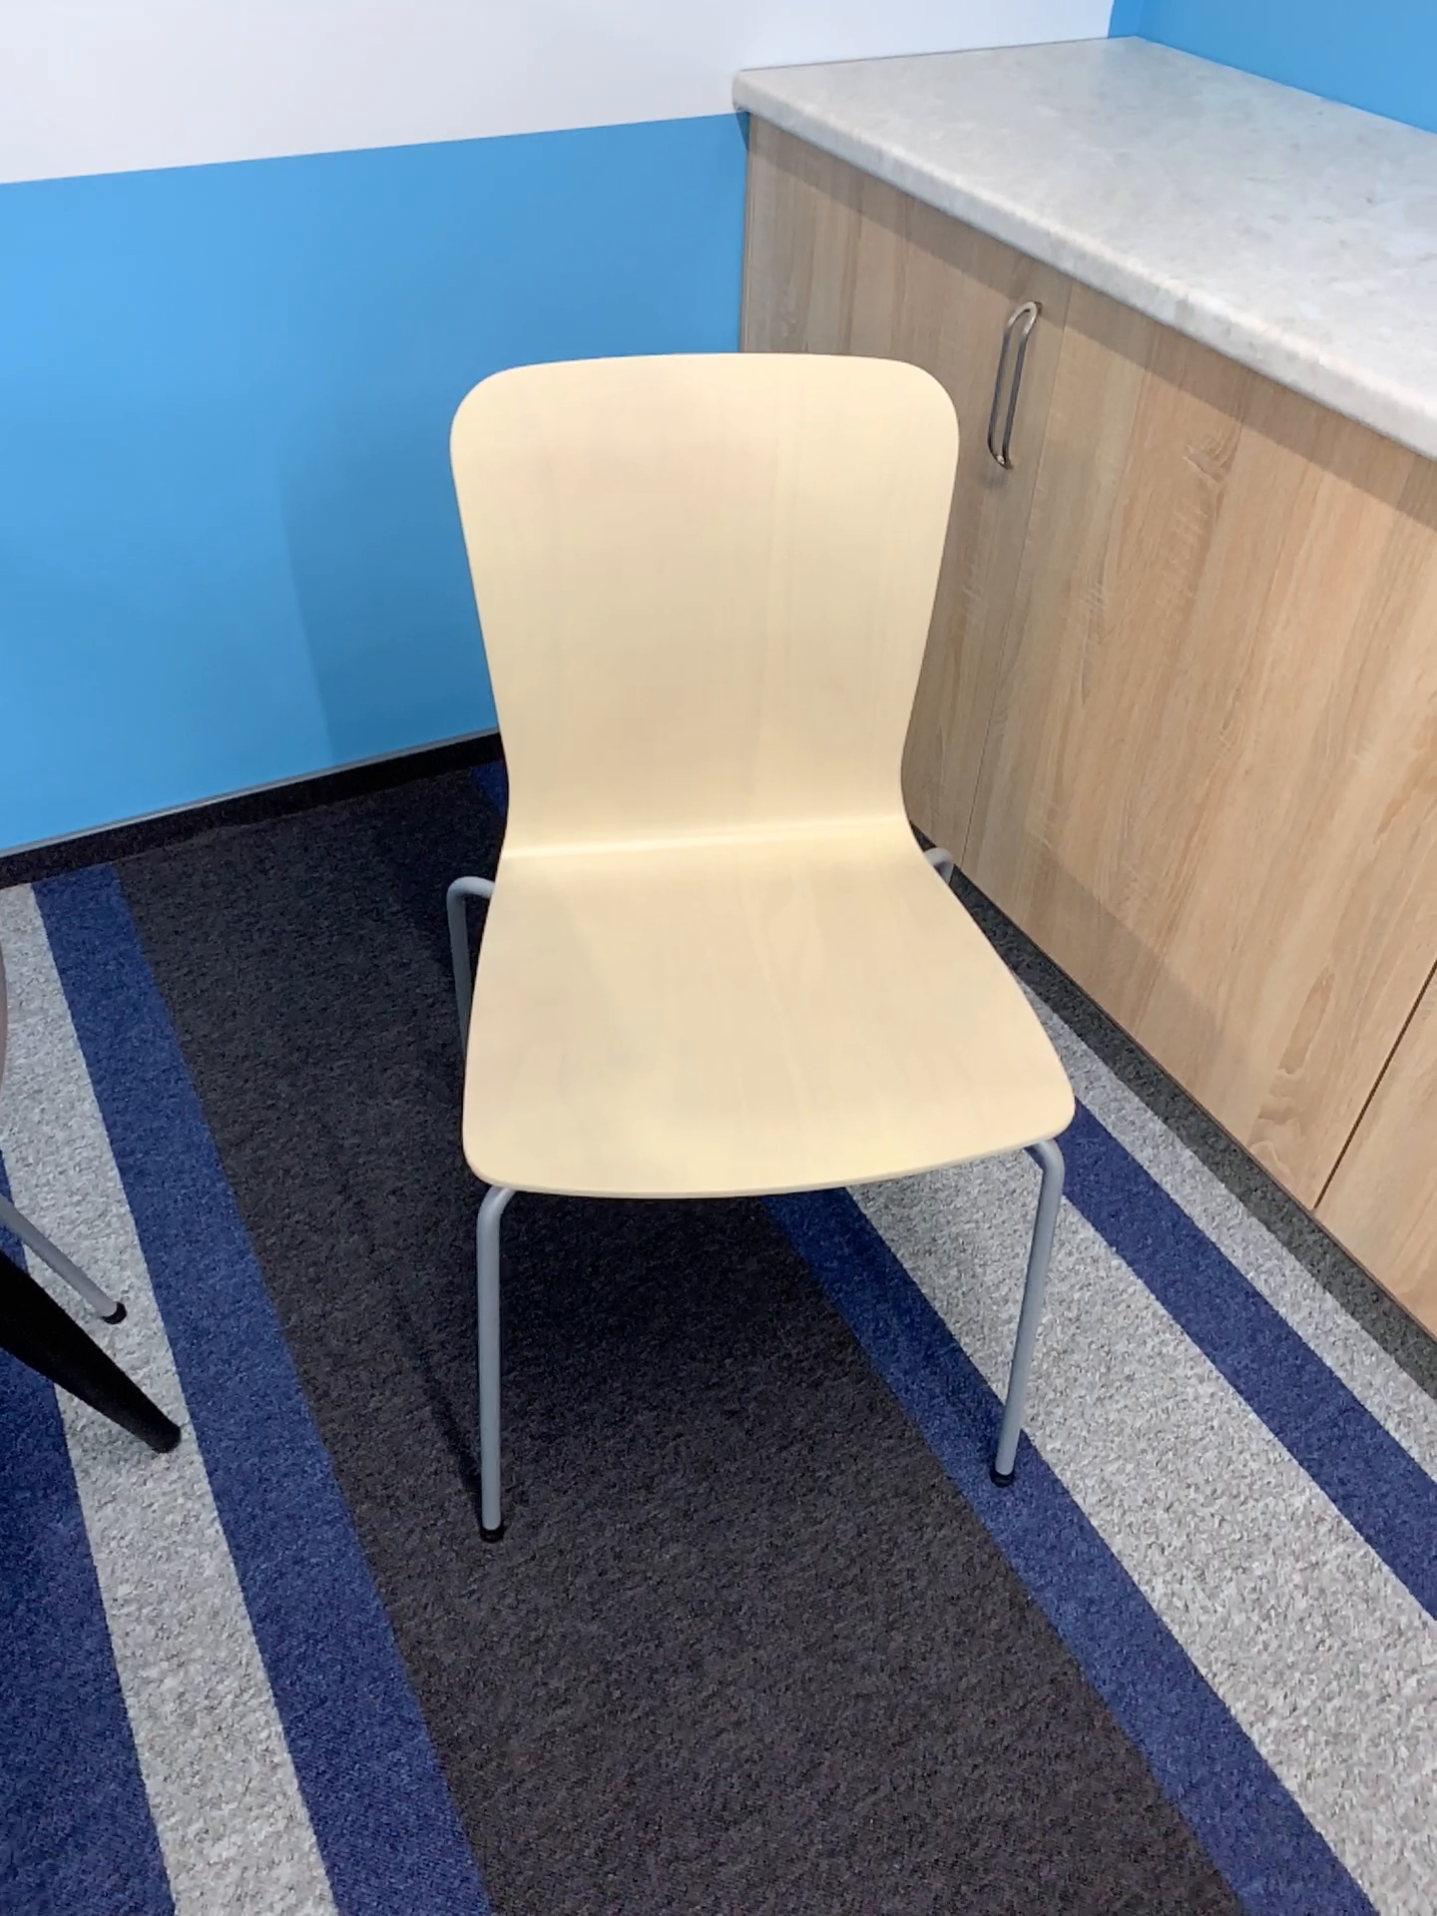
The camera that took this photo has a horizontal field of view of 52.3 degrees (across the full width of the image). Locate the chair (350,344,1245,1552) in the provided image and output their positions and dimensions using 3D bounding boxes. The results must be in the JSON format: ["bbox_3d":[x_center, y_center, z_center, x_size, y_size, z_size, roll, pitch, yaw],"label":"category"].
[{"bbox_3d":[0.001,0.005,1.255,0.476,0.836,0.573,-3,41,-7],"label":"chair"}]
